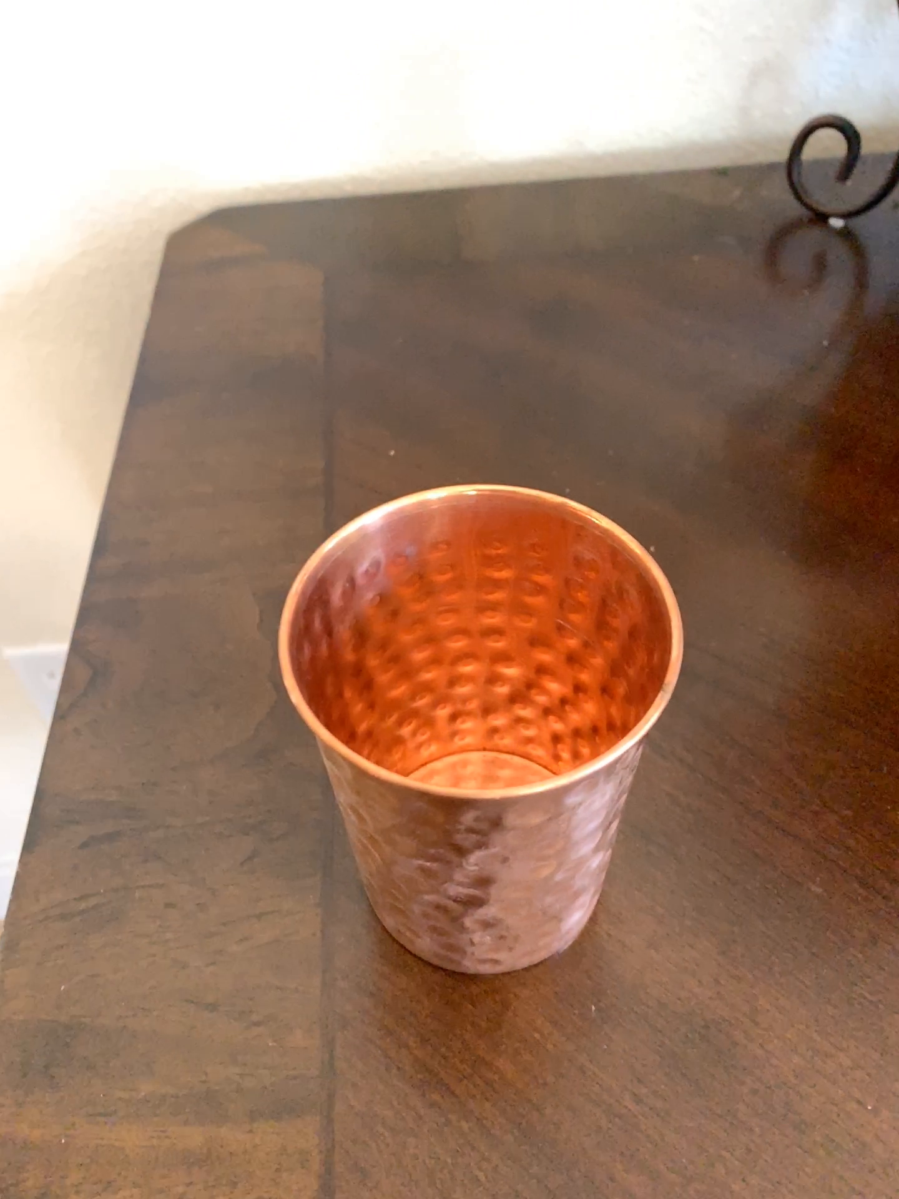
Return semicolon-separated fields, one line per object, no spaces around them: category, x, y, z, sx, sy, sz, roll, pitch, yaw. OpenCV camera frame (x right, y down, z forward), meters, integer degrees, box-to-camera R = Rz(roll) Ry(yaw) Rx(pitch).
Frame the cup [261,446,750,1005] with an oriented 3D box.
cup;0.006;0.027;0.191;0.070;0.083;0.066;-1;47;1
